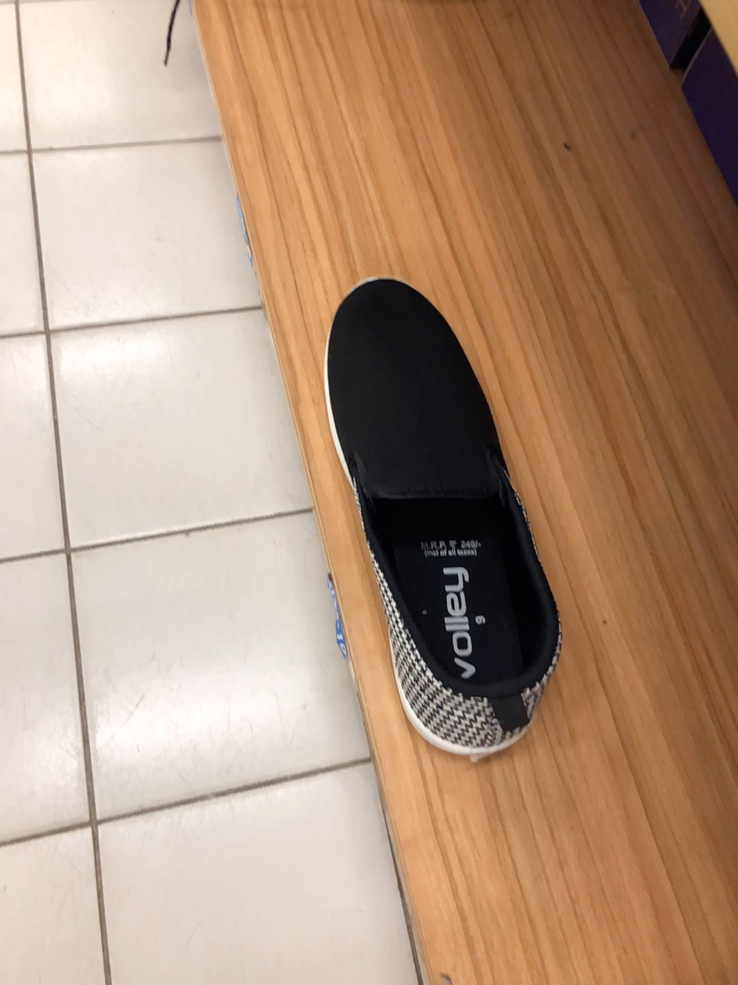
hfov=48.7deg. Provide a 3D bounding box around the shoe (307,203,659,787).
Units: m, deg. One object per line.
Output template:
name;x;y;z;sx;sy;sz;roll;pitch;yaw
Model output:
shoe;0.044;-0.005;0.439;0.100;0.090;0.291;-8;70;-11
